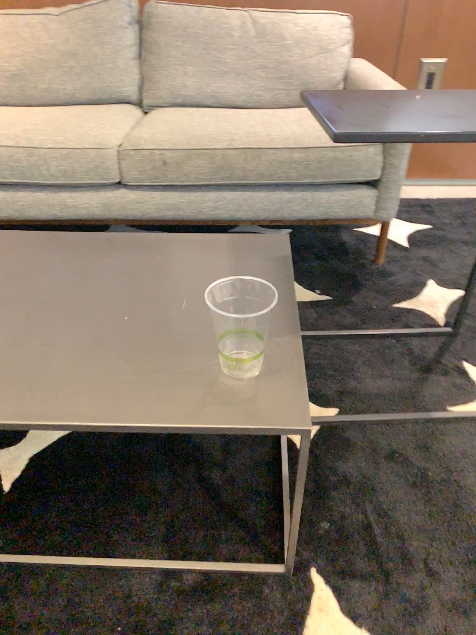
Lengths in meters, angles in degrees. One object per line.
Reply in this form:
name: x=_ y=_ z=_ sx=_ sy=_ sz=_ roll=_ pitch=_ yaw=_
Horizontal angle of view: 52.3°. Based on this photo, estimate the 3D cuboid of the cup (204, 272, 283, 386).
cup: x=0.009 y=0.014 z=0.622 sx=0.090 sy=0.109 sz=0.091 roll=0 pitch=35 yaw=0
